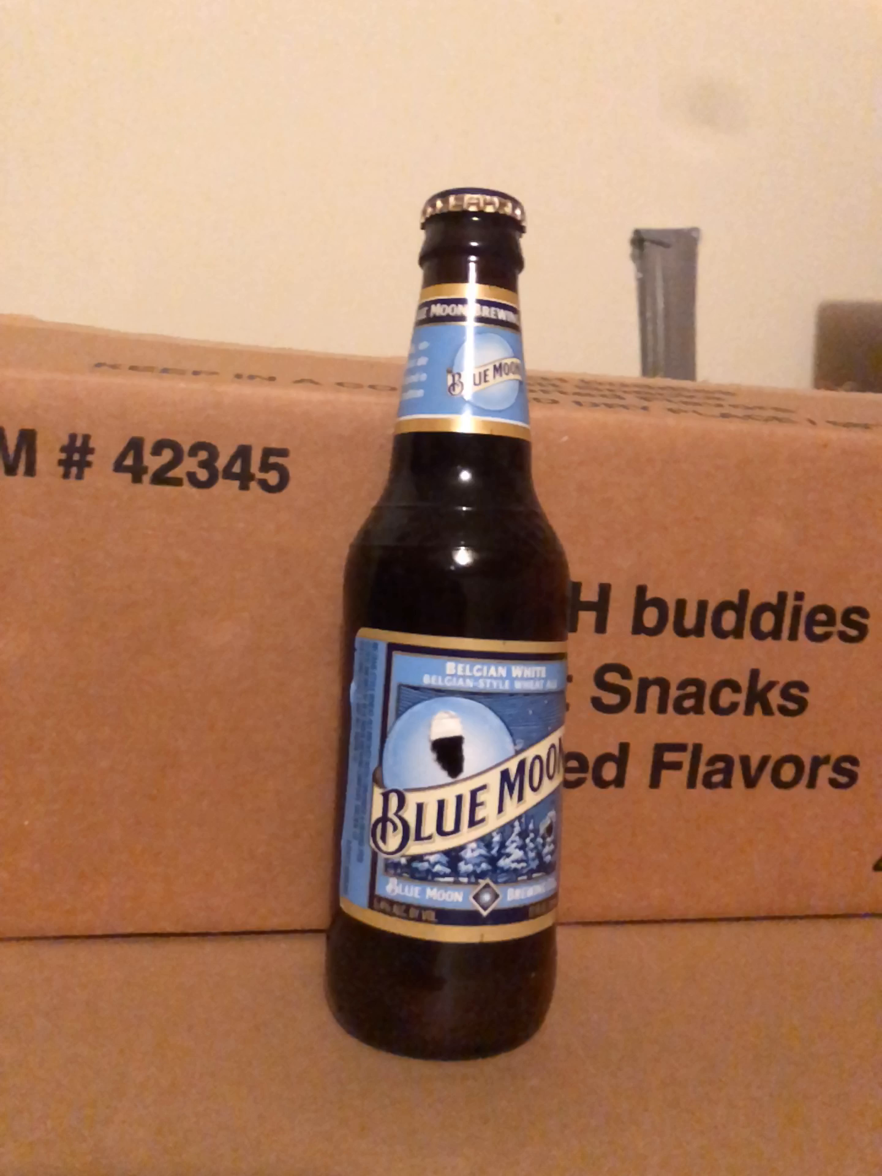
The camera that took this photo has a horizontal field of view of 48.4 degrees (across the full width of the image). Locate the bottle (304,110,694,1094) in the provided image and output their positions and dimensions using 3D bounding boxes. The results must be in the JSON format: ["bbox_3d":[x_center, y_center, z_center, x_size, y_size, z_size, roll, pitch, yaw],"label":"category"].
[{"bbox_3d":[0.009,0.005,0.246,0.070,0.210,0.060,1,5,-16],"label":"bottle"}]
